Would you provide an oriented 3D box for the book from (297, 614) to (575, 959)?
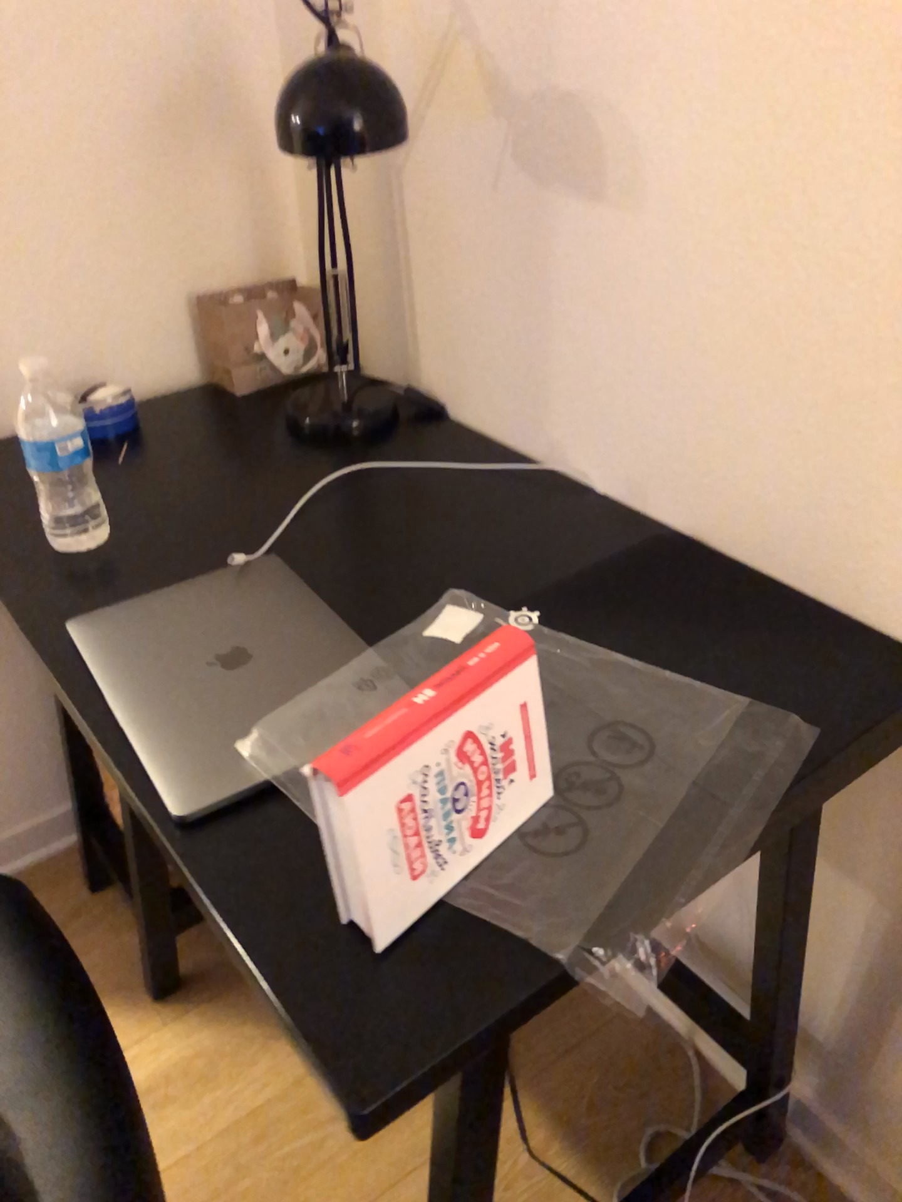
[{"bbox_3d":[-0.001,0.116,0.654,0.050,0.129,0.201,26,44,34],"label":"book"}]
